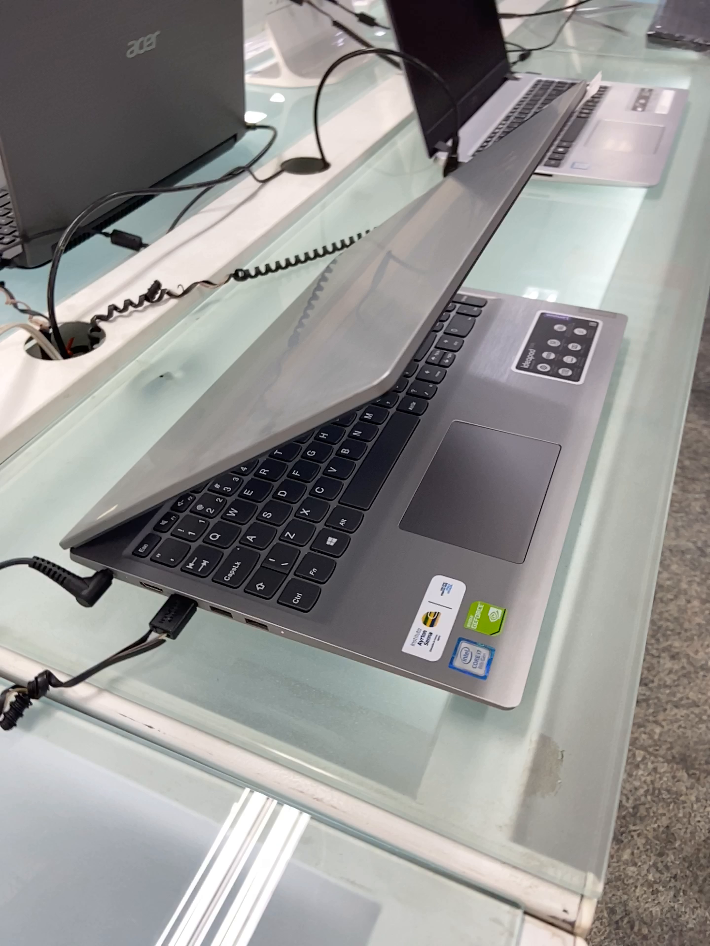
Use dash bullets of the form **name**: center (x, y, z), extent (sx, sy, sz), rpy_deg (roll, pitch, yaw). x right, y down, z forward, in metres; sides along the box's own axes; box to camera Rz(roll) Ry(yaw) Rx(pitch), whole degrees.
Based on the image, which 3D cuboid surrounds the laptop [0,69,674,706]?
- **laptop**: center (0.025, -0.099, 0.433), extent (0.245, 0.160, 0.363), rpy_deg (14, 44, 18)
